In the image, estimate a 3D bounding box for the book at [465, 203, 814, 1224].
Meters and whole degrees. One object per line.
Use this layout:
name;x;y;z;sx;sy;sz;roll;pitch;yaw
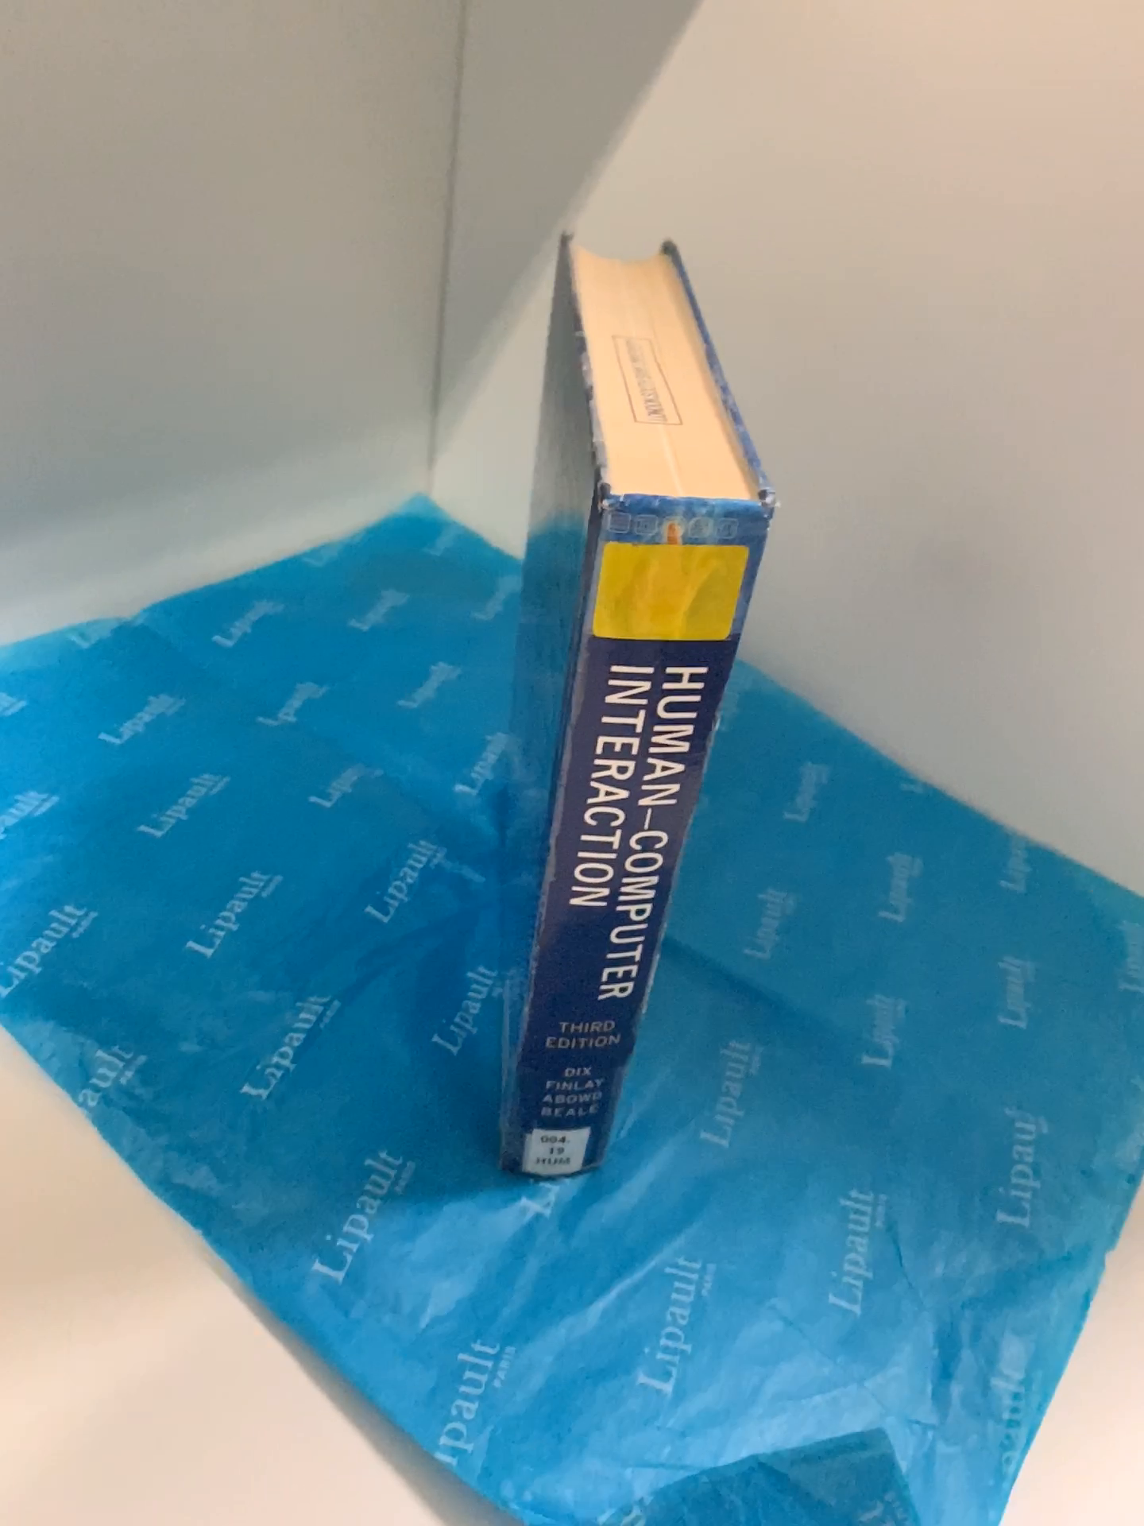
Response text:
book;0.000;-0.022;0.396;0.050;0.258;0.222;4;35;-7
